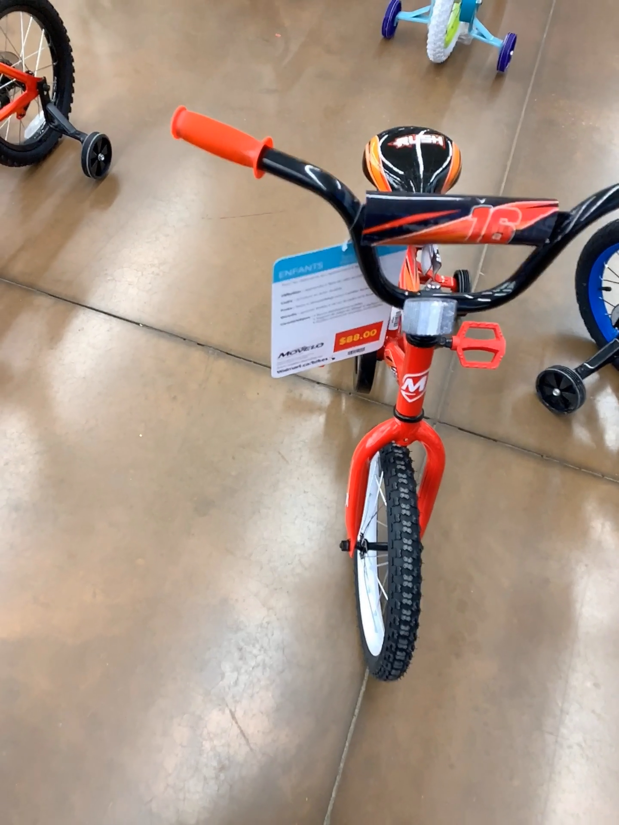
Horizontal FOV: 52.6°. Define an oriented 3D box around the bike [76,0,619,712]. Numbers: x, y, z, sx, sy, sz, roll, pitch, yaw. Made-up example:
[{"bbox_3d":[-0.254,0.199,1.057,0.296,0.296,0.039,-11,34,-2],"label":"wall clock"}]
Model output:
[{"bbox_3d":[0.155,-0.177,1.014,0.584,0.850,1.074,4,56,-2],"label":"bike"}]
